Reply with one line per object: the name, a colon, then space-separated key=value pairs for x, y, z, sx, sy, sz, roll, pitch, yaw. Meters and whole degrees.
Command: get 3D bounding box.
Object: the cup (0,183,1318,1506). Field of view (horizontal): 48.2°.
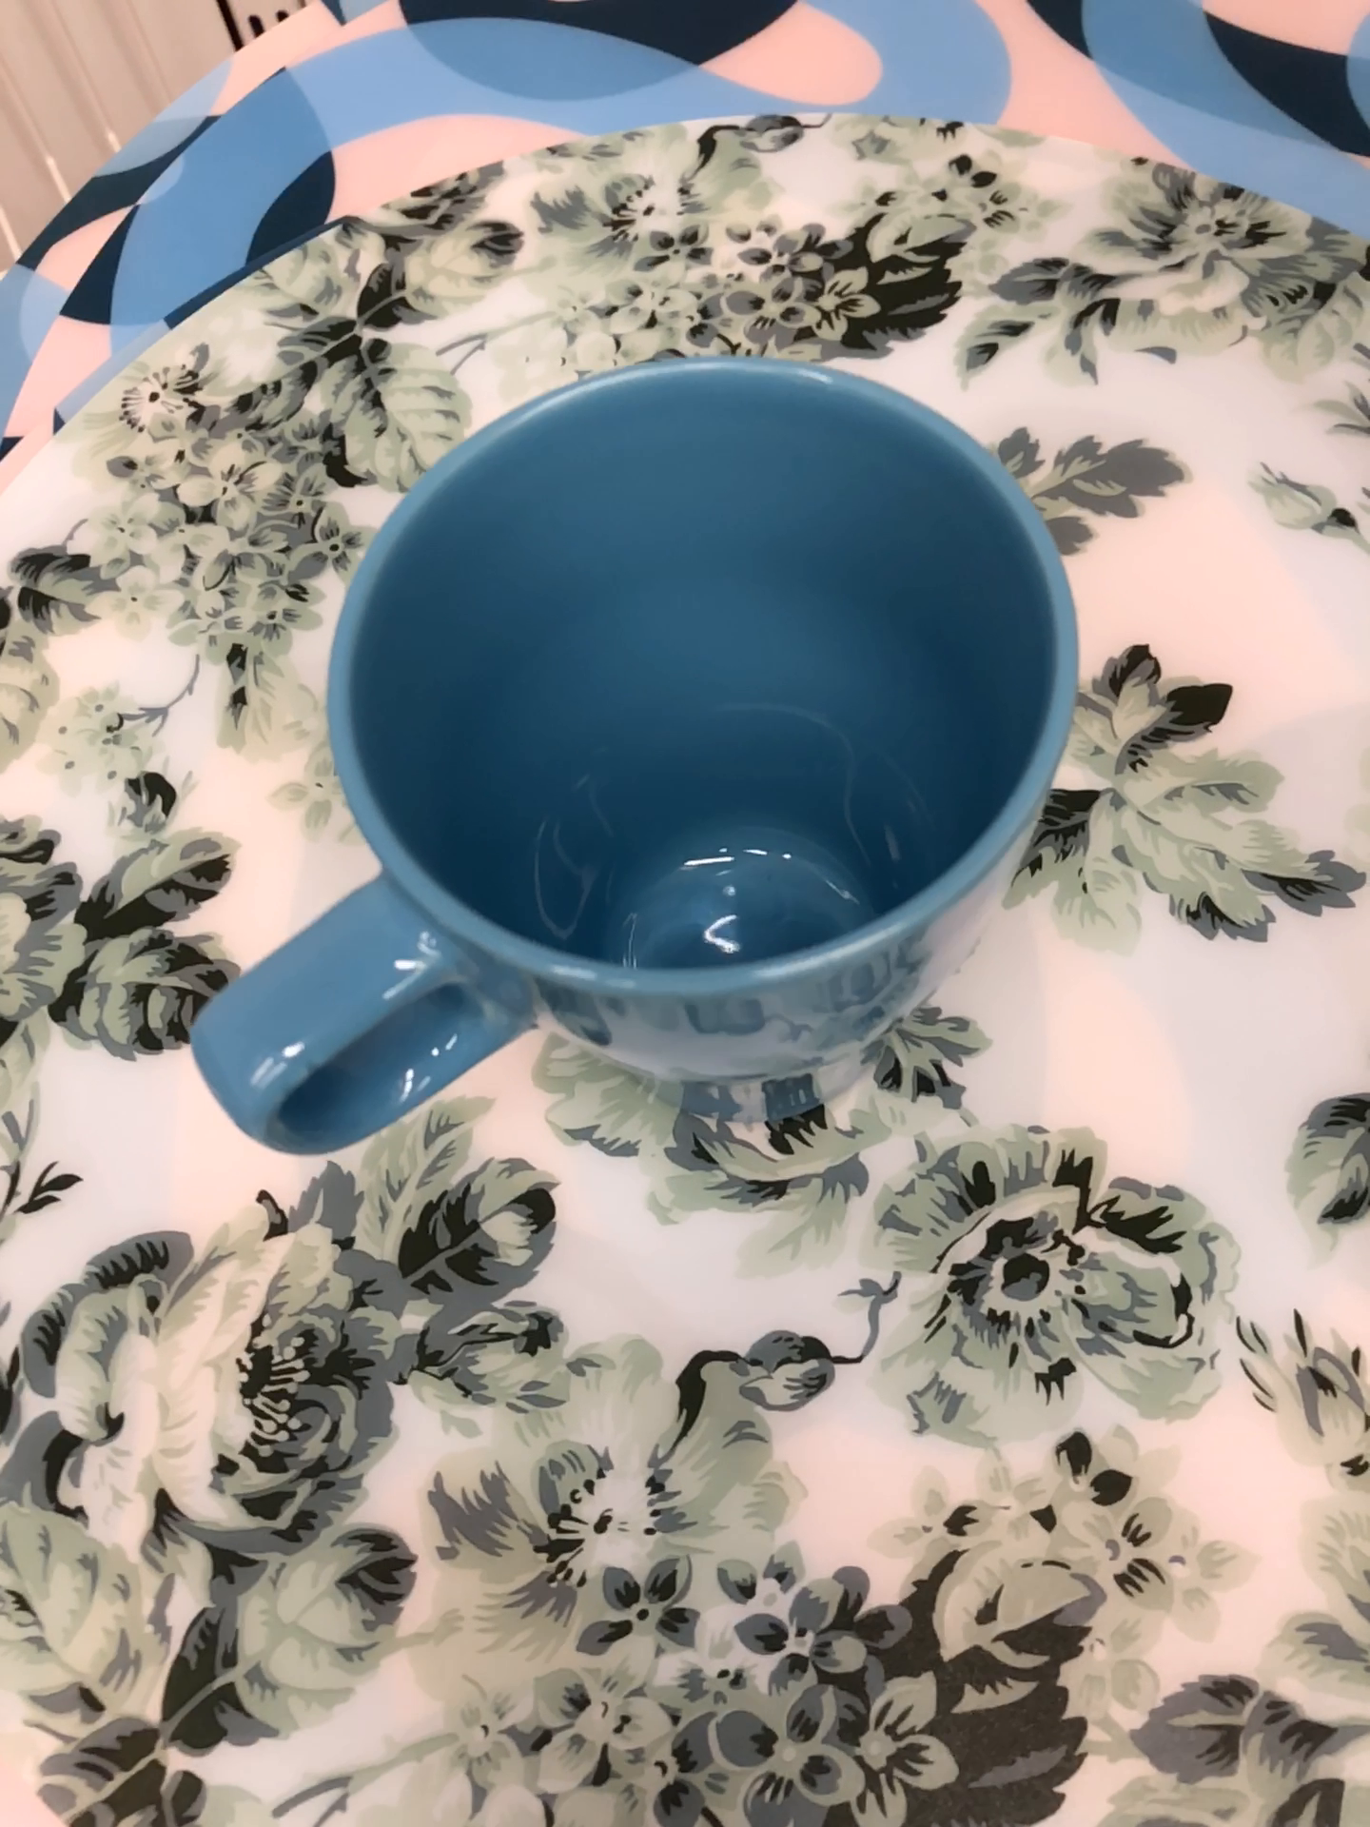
cup: x=-0.006 y=-0.008 z=0.195 sx=0.120 sy=0.080 sz=0.090 roll=-39 pitch=64 yaw=-14
